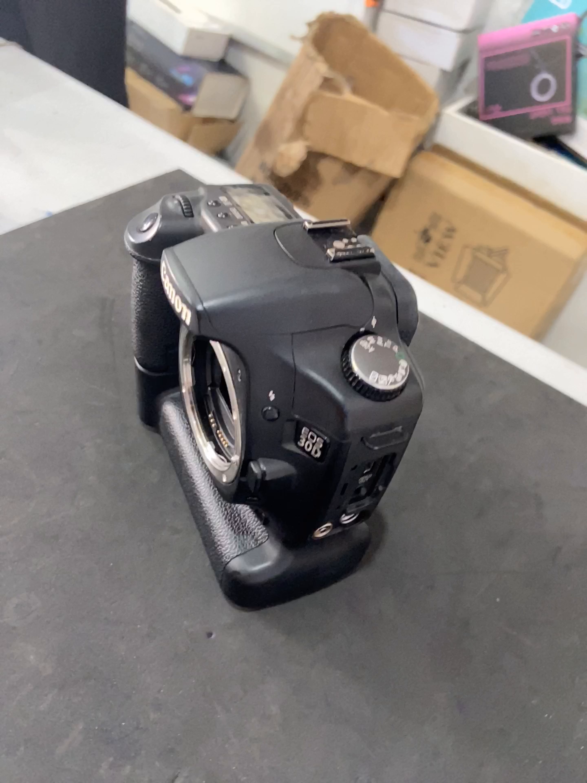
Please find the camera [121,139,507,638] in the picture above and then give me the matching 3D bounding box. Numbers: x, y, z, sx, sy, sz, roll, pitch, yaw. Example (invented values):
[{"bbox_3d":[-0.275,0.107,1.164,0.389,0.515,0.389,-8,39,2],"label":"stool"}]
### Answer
[{"bbox_3d":[-0.012,-0.005,0.257,0.080,0.139,0.140,-12,49,-24],"label":"camera"}]
